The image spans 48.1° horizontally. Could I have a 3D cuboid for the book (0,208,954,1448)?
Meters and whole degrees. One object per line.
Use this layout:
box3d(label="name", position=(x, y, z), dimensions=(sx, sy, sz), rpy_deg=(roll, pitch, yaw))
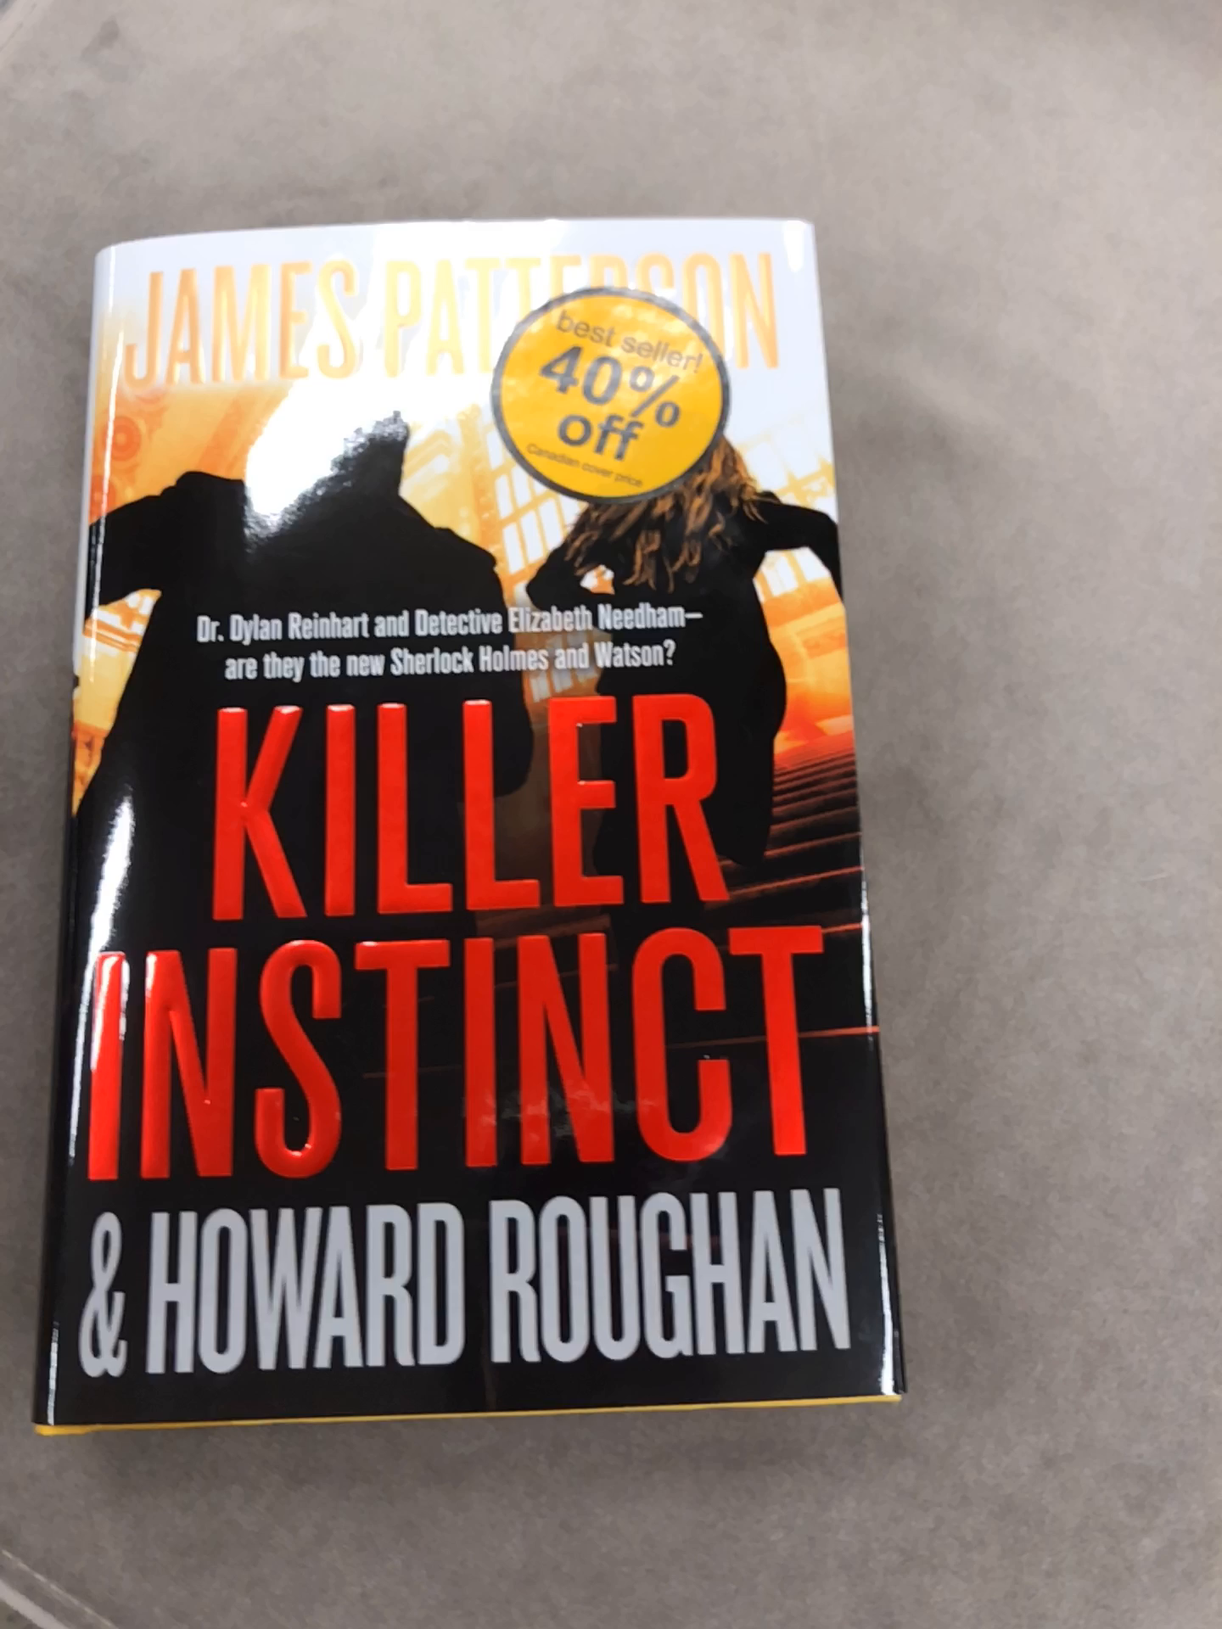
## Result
box3d(label="book", position=(-0.030, -0.005, 0.280), dimensions=(0.172, 0.038, 0.237), rpy_deg=(-2, 77, 0))
